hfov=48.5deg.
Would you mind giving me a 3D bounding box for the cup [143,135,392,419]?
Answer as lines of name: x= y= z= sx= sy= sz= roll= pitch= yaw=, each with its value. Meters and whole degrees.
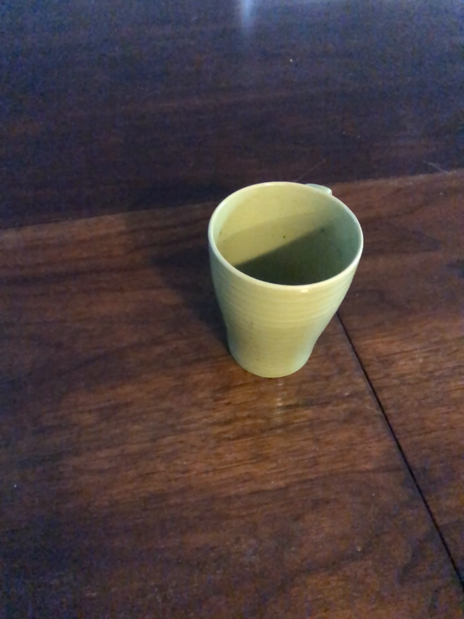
cup: x=0.023 y=-0.023 z=0.309 sx=0.090 sy=0.090 sz=0.120 roll=23 pitch=53 yaw=16
